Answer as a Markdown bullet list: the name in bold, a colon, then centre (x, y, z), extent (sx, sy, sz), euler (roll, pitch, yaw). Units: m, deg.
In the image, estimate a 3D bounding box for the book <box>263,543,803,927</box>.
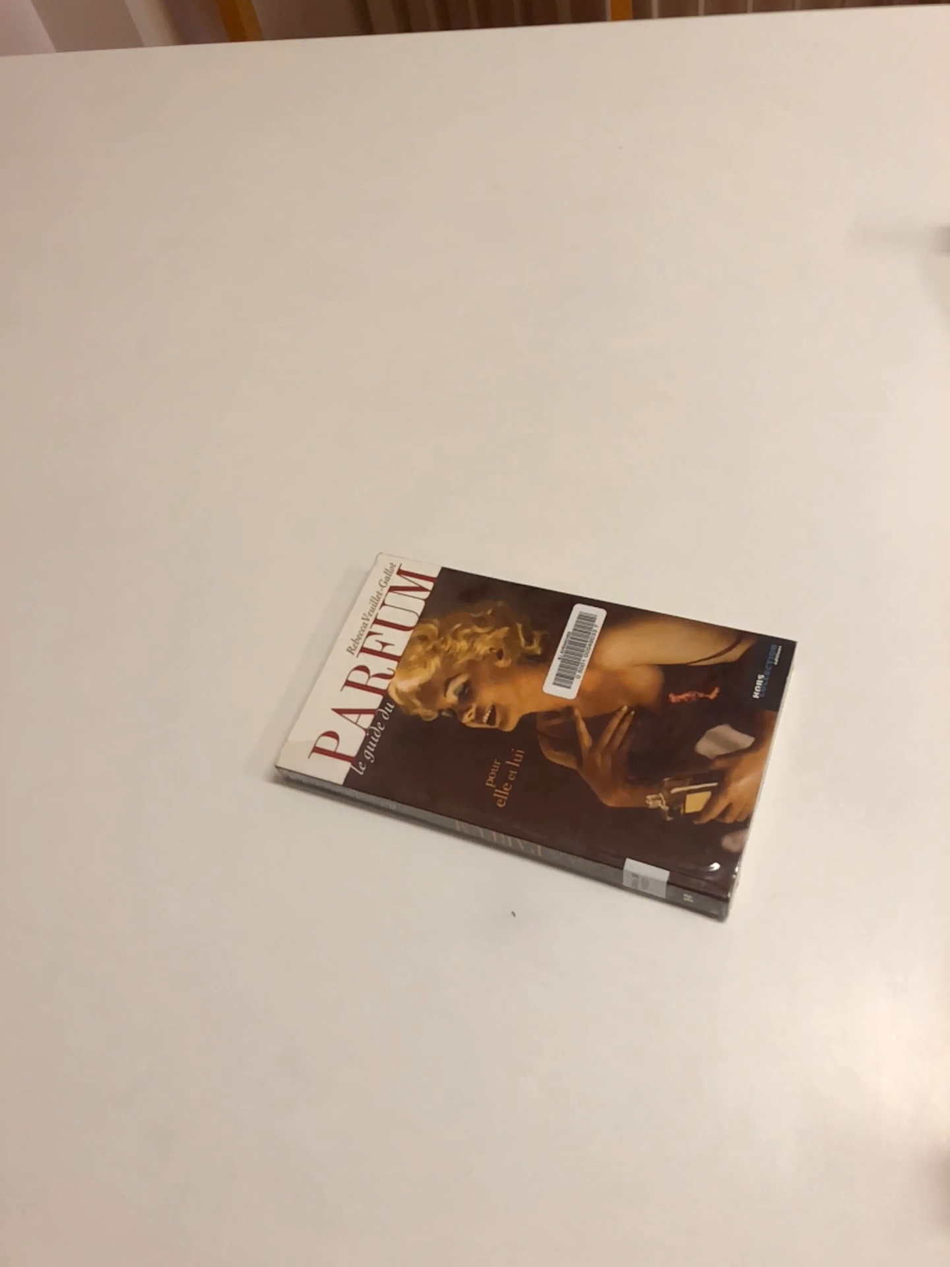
- **book**: centre (0.027, 0.035, 0.470), extent (0.210, 0.020, 0.133), euler (12, 61, 18)
